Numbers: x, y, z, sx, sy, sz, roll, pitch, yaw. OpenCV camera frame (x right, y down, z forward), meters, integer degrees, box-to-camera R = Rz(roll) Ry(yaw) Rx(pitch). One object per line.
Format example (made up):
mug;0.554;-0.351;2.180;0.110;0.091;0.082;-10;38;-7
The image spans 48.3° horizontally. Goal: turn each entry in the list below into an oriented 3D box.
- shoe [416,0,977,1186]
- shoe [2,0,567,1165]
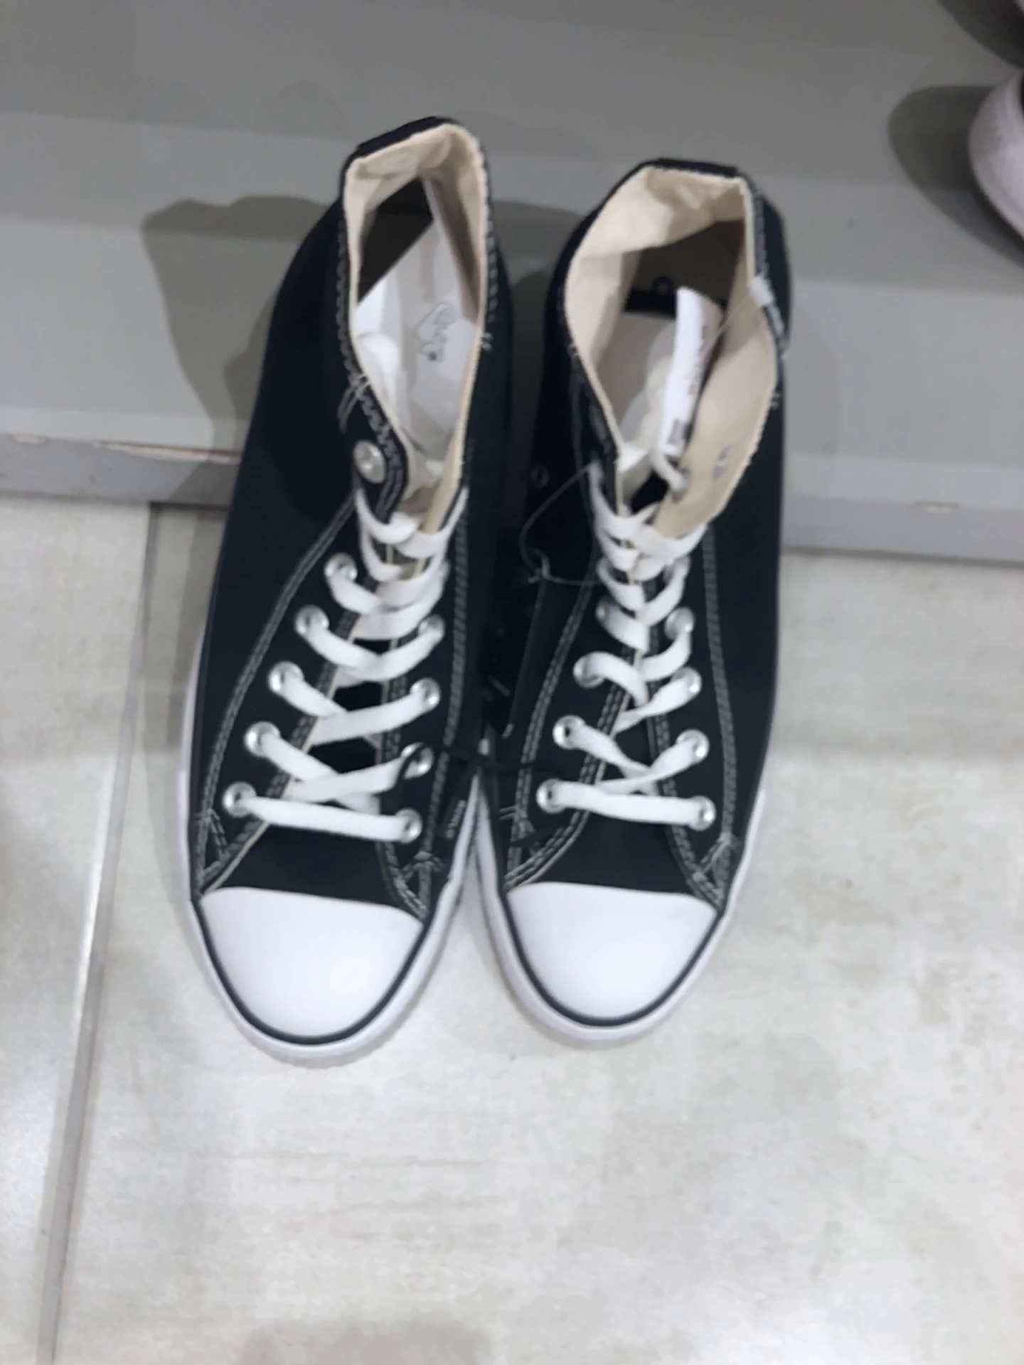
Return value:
shoe;0.042;-0.034;0.371;0.120;0.140;0.330;4;94;-4
shoe;-0.066;-0.030;0.377;0.120;0.140;0.310;6;94;-4
